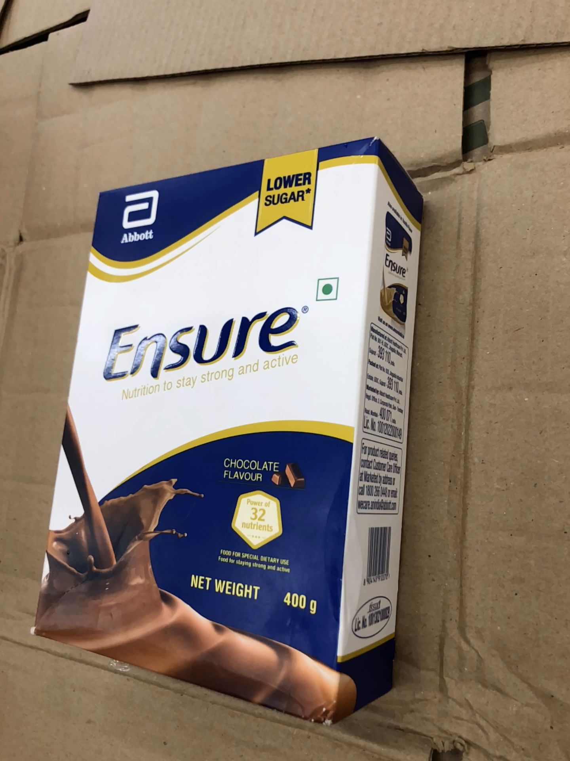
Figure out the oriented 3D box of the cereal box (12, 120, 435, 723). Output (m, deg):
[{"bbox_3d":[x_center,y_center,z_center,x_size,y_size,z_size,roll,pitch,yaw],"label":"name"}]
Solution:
[{"bbox_3d":[-0.024,0.010,0.246,0.140,0.050,0.180,0,79,31],"label":"cereal box"}]
